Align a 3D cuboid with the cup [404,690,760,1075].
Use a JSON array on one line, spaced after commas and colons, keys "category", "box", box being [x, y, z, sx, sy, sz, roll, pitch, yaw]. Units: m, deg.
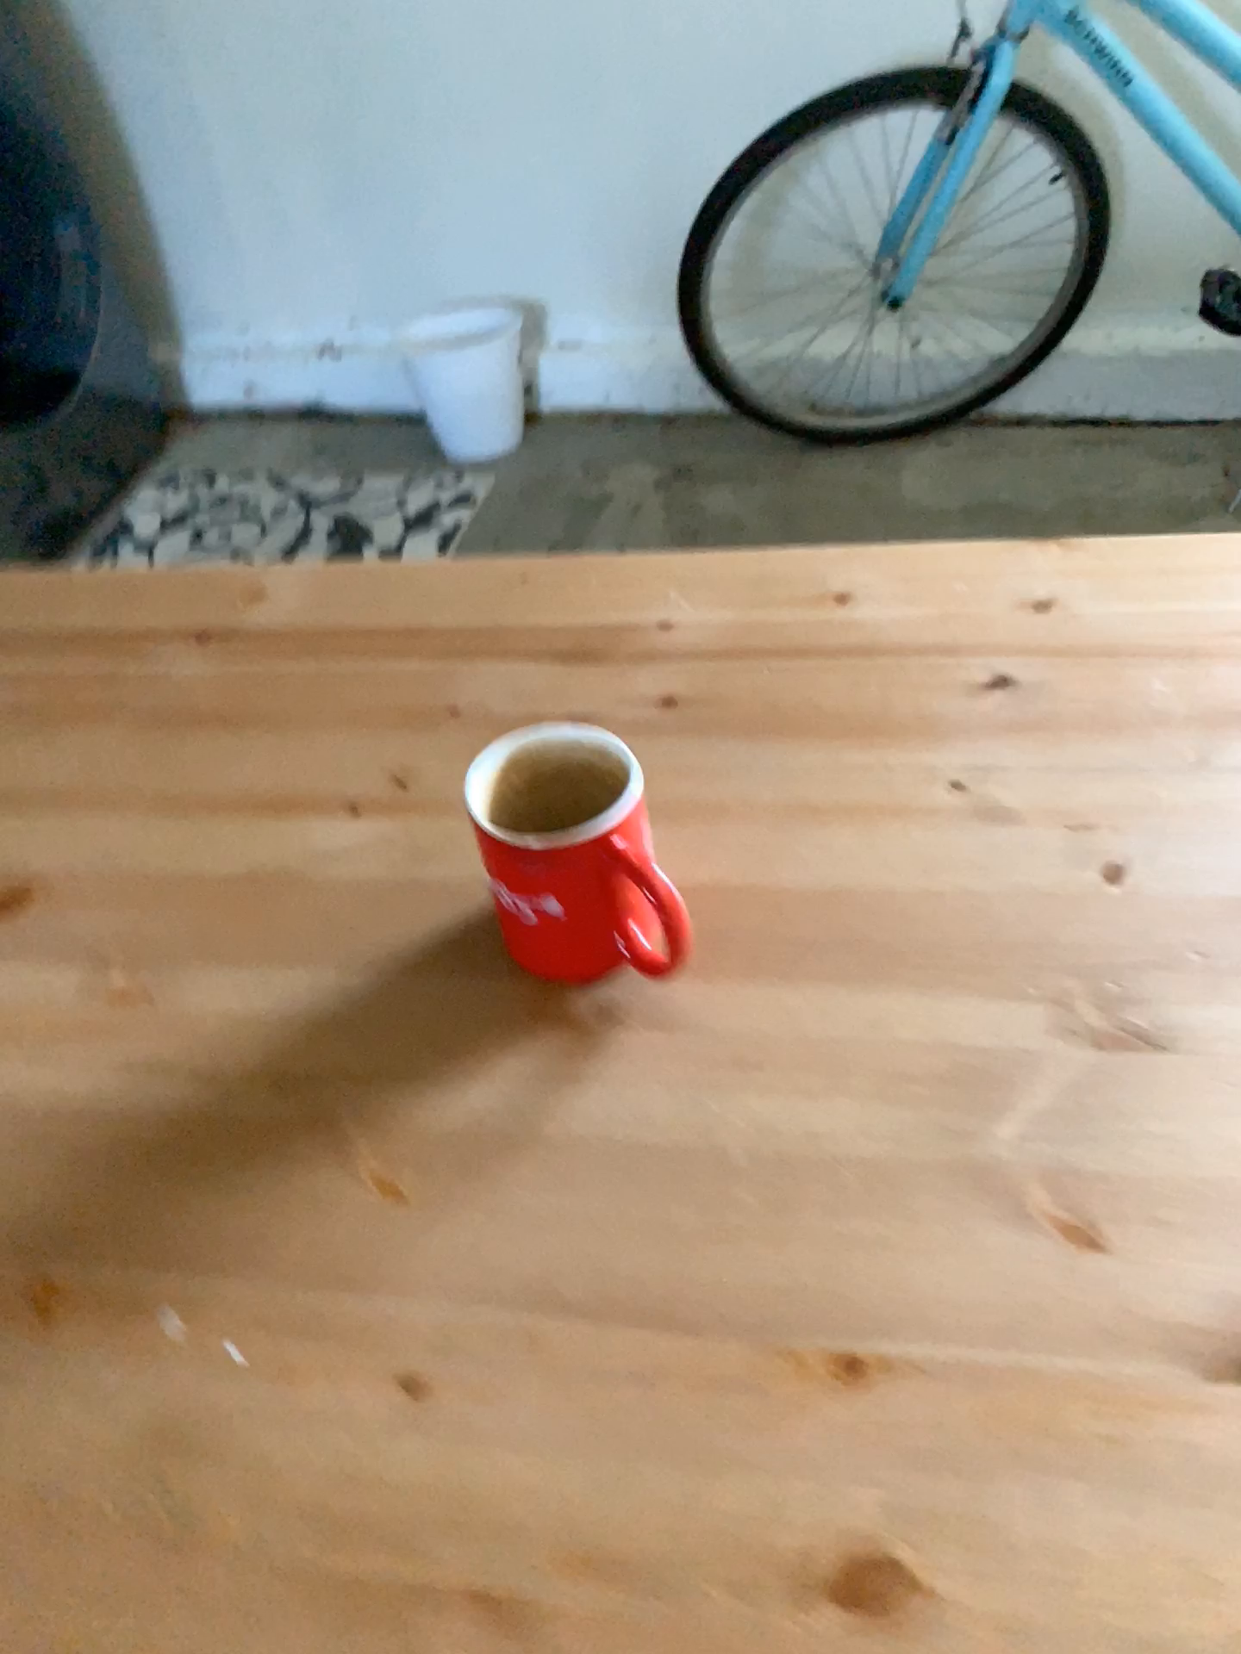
[{"category": "cup", "box": [-0.017, 0.022, 0.606, 0.100, 0.090, 0.131, -31, 47, -20]}]
